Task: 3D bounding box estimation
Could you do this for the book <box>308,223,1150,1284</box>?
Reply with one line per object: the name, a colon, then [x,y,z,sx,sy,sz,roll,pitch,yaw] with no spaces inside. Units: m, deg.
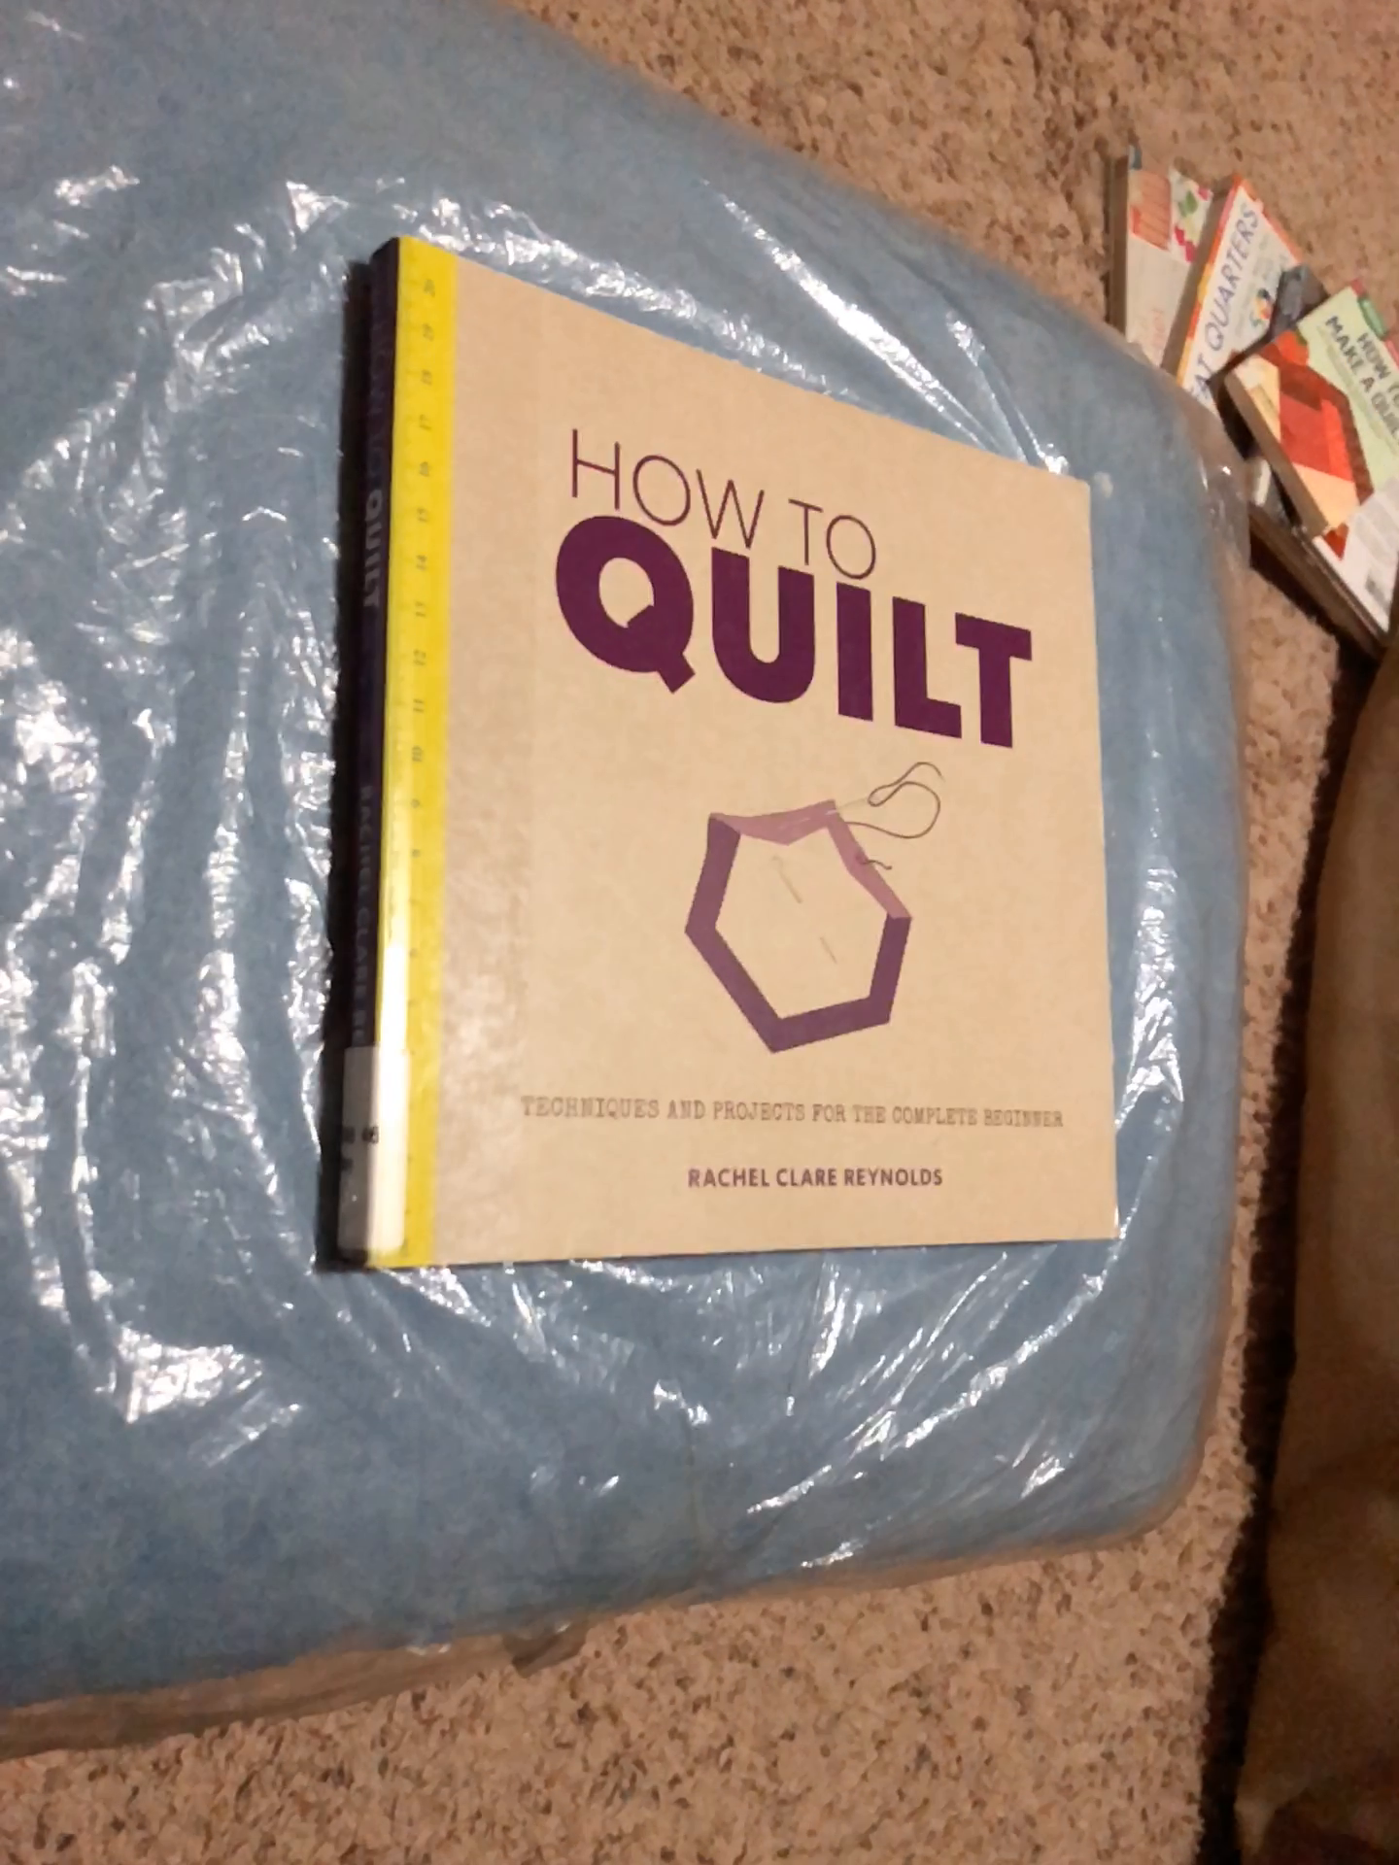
book: [0.021,-0.026,0.344,0.208,0.020,0.194,6,81,-35]
